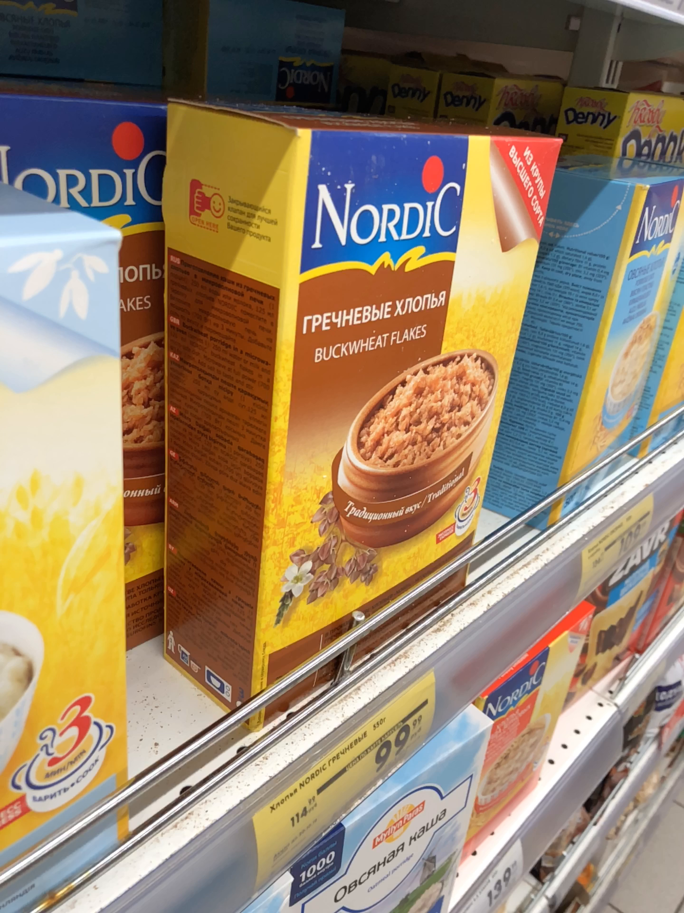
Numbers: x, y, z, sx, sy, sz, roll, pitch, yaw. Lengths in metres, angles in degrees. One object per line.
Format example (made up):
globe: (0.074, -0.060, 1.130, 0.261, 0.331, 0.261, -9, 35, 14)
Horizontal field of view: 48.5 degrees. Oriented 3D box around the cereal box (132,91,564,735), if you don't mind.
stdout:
cereal box: (-0.001, -0.023, 0.302, 0.070, 0.209, 0.141, 27, 33, 35)
